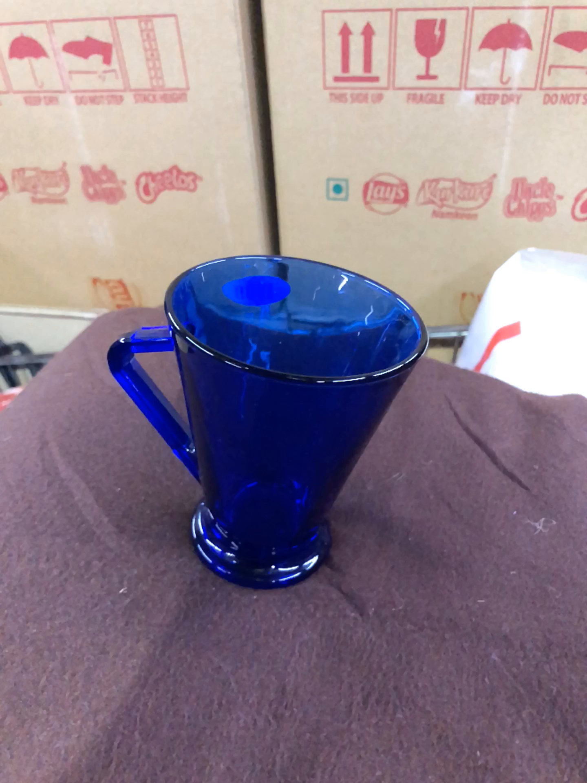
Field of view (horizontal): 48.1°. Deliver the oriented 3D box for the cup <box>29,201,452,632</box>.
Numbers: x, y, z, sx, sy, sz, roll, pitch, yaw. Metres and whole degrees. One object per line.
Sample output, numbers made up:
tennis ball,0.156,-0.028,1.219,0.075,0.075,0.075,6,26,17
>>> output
cup,-0.016,0.009,0.237,0.110,0.109,0.070,16,42,12
